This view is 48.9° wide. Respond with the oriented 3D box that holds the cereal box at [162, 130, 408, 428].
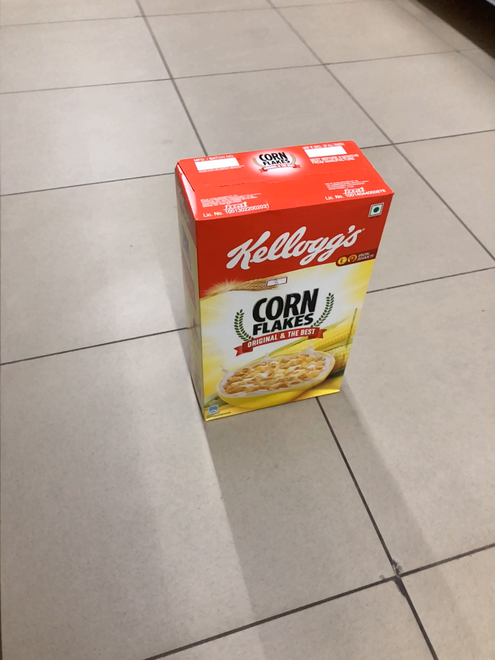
[{"bbox_3d":[0.027,-0.039,0.610,0.200,0.318,0.100,-11,50,-12],"label":"cereal box"}]
